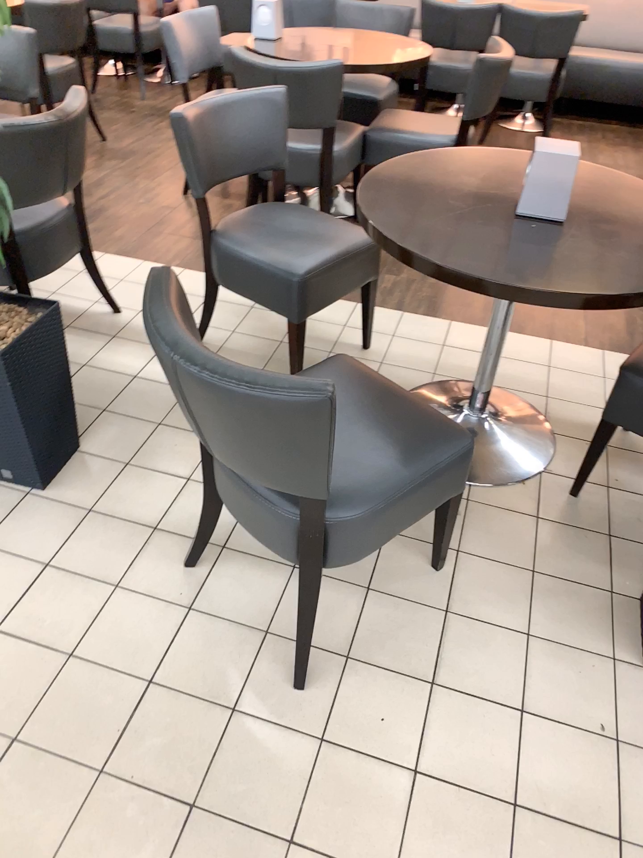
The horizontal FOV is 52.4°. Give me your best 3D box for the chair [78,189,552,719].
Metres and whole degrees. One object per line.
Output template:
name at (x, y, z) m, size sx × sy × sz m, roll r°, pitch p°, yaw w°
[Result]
chair at (-0.025, 0.024, 1.417) m, size 0.641 × 0.796 × 0.551 m, roll -27°, pitch 48°, yaw -31°
